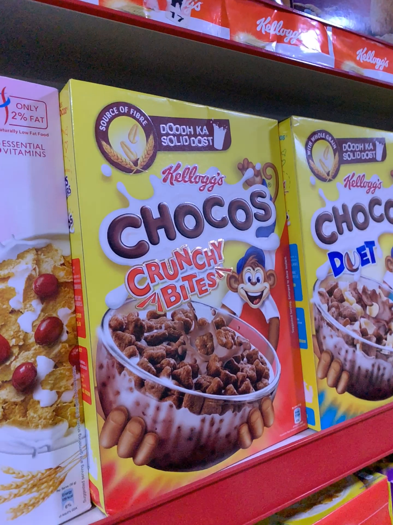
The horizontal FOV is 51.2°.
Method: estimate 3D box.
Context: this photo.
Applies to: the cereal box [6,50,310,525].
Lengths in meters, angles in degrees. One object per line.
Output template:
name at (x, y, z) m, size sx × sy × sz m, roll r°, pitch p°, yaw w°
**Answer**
cereal box at (-0.019, 0.014, 0.304) m, size 0.190 × 0.260 × 0.080 m, roll -4°, pitch -3°, yaw -40°
